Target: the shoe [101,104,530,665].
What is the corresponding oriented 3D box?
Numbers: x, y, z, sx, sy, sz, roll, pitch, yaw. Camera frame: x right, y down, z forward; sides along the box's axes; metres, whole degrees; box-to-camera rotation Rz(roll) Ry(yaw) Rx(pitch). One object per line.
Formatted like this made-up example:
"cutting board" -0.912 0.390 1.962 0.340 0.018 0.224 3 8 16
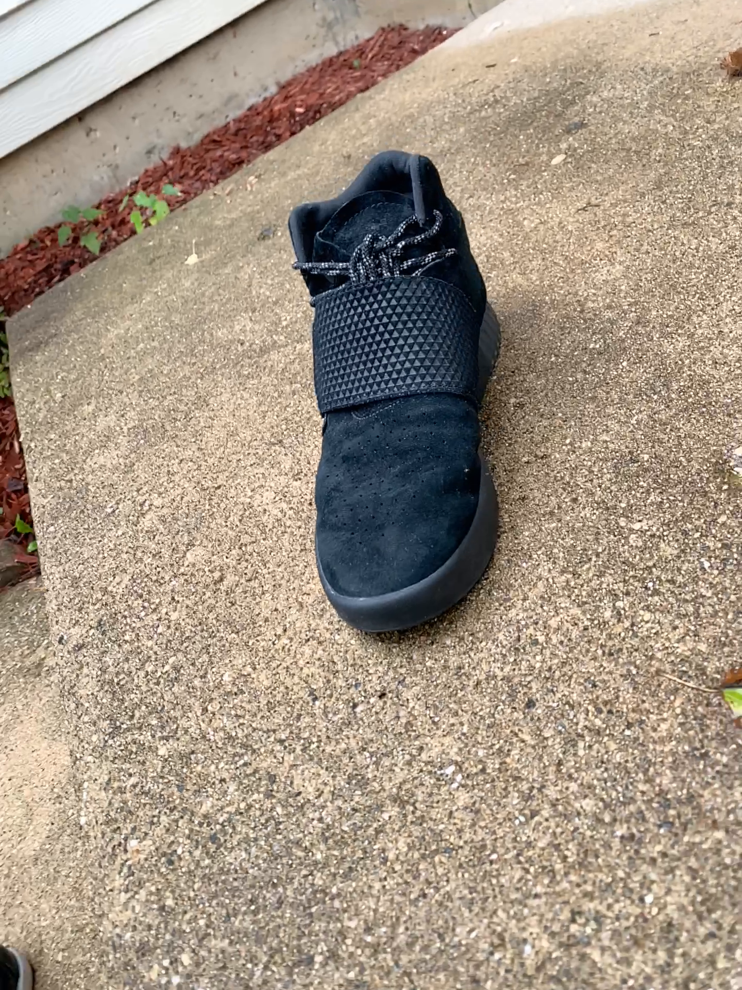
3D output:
"shoe" 0.002 -0.073 0.423 0.119 0.141 0.291 -10 41 25
